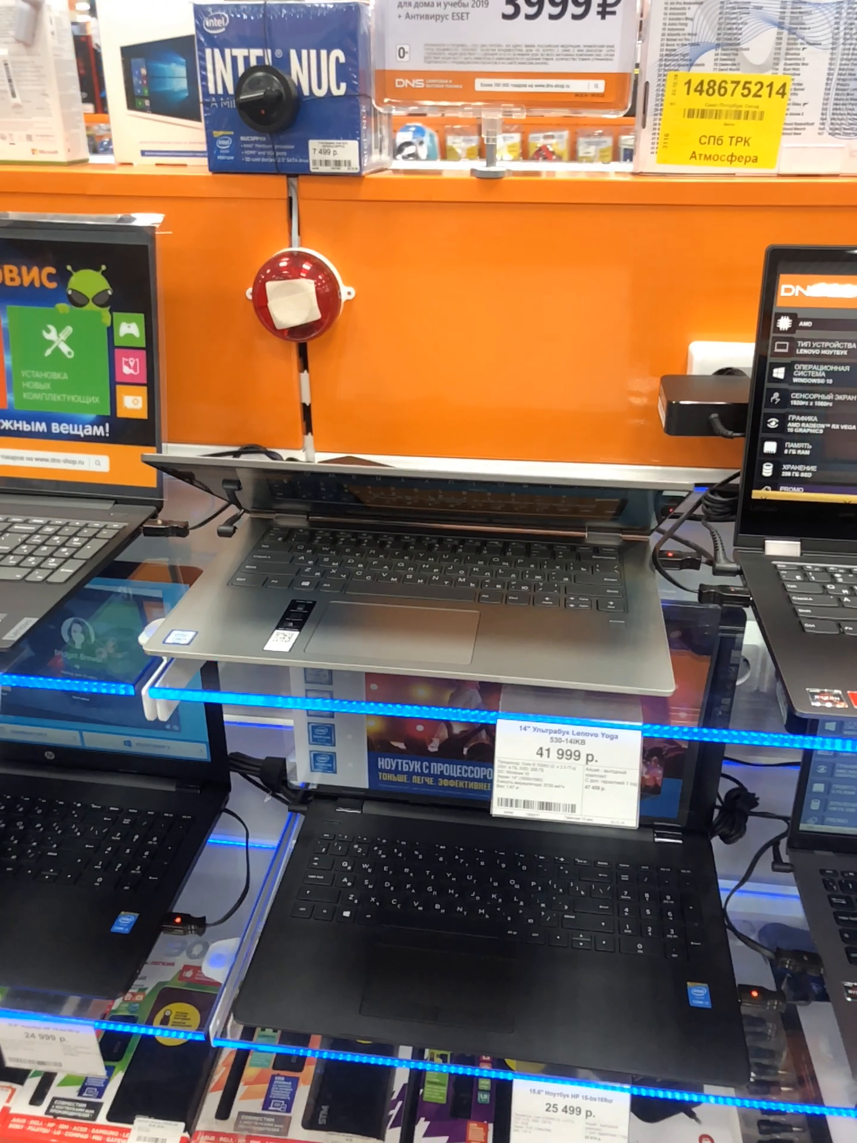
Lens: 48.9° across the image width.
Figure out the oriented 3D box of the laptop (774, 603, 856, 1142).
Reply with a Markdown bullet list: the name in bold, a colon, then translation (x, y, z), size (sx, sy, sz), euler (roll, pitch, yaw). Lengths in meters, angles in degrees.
- **laptop**: translation (0.468, 0.195, 0.669), size (0.329, 0.228, 0.236), euler (3, 27, 6)

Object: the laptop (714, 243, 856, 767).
- **laptop**: translation (0.382, -0.063, 0.563), size (0.327, 0.210, 0.248), euler (3, 26, 5)

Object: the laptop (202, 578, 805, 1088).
- **laptop**: translation (0.052, 0.177, 0.728), size (0.361, 0.223, 0.261), euler (4, 26, 7)

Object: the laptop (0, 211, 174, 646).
- **laptop**: translation (-0.402, -0.121, 0.659), size (0.329, 0.219, 0.277), euler (3, 26, 5)

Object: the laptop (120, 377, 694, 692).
- **laptop**: translation (-0.003, -0.039, 0.625), size (0.313, 0.110, 0.211), euler (4, 27, 7)

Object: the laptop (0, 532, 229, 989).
- **laptop**: translation (-0.383, 0.139, 0.779), size (0.332, 0.222, 0.244), euler (5, 29, 7)
